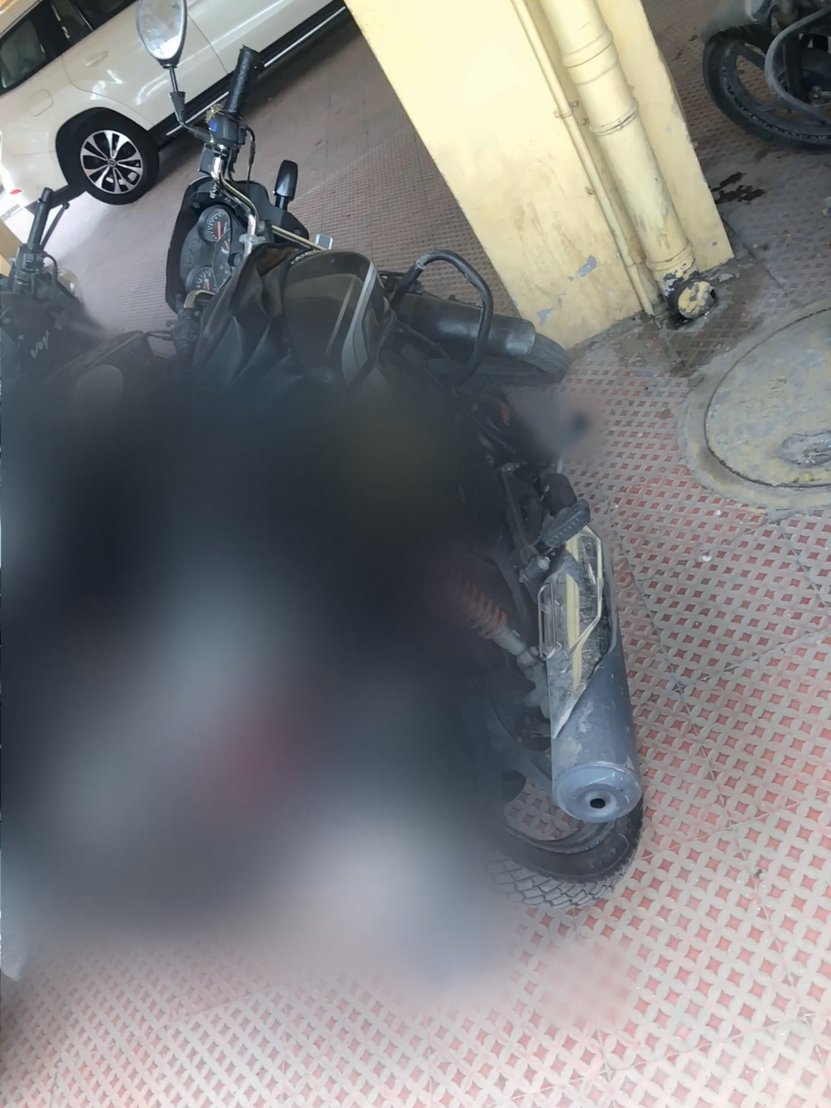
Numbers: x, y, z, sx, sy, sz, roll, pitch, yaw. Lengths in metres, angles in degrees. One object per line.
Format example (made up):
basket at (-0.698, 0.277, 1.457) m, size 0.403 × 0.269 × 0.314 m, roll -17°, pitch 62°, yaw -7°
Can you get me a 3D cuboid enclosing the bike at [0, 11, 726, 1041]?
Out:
bike at (-0.255, -0.206, 1.836) m, size 0.731 × 1.125 × 1.768 m, roll -29°, pitch 36°, yaw 14°
